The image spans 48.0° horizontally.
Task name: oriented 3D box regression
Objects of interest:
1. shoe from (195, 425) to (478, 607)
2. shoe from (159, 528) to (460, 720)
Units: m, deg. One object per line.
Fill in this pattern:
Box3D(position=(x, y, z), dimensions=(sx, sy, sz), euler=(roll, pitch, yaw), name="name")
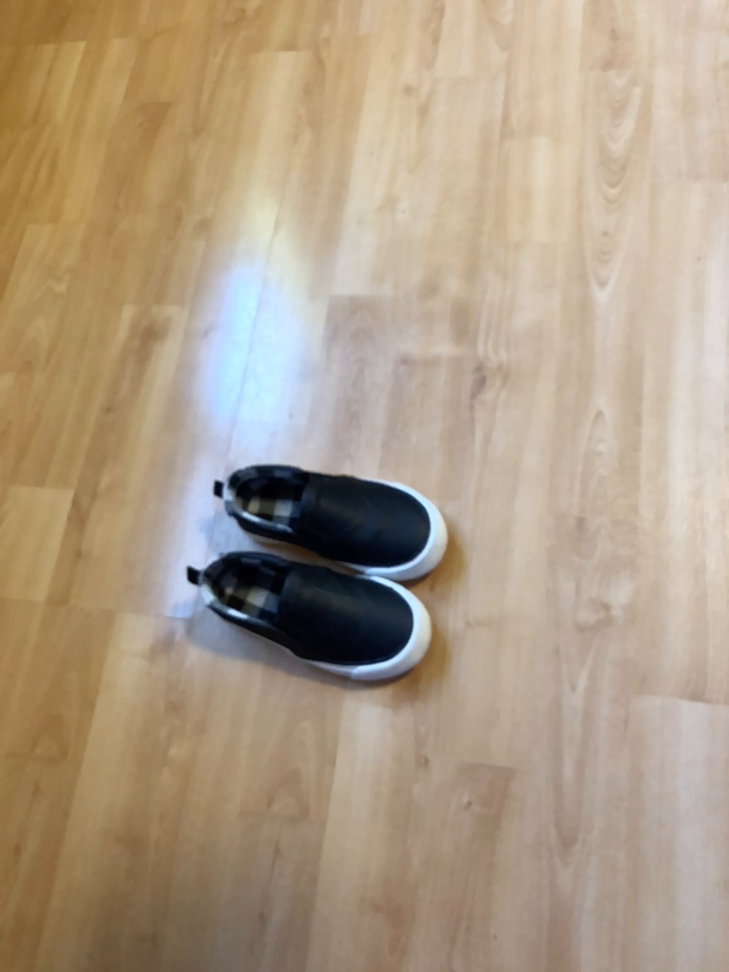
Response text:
Box3D(position=(-0.018, 0.021, 0.591), dimensions=(0.180, 0.060, 0.080), euler=(12, 73, 16), name="shoe")
Box3D(position=(-0.035, 0.092, 0.555), dimensions=(0.180, 0.060, 0.080), euler=(11, 72, 16), name="shoe")
